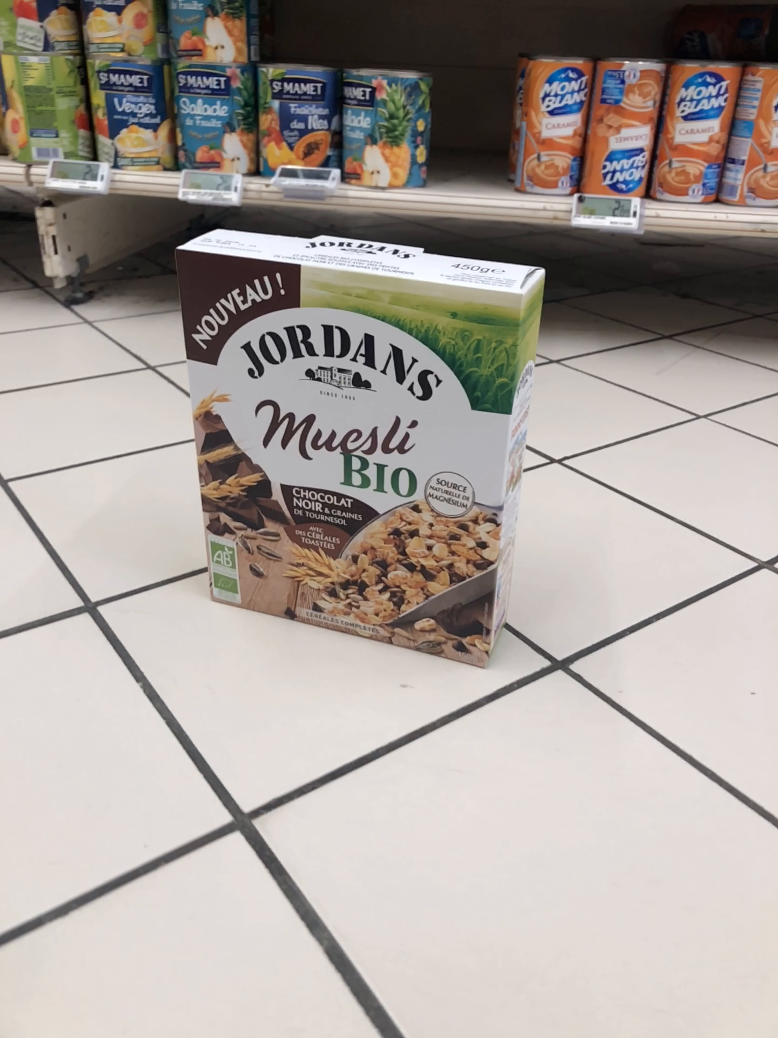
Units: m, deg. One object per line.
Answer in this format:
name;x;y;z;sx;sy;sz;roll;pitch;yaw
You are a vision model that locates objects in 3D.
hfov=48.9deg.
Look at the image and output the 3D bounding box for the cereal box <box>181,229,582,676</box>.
cereal box;-0.009;-0.036;0.467;0.190;0.209;0.050;12;30;17
